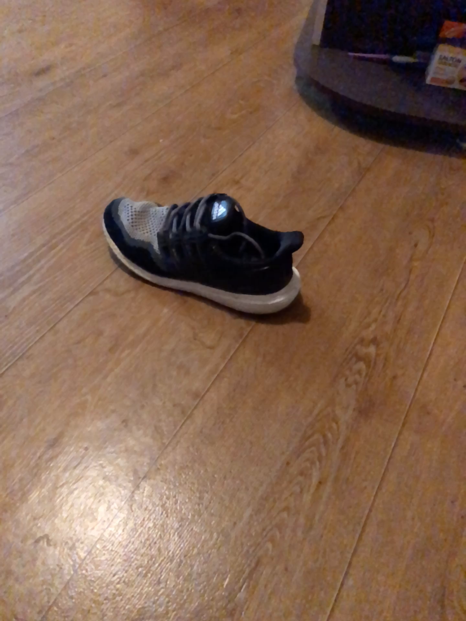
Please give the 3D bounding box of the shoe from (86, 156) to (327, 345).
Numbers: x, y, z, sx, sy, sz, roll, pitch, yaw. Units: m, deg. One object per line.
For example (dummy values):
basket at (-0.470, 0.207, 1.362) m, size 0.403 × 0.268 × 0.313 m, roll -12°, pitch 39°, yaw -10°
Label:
shoe at (-0.037, -0.083, 0.650) m, size 0.270 × 0.099 × 0.114 m, roll 26°, pitch 51°, yaw 16°
